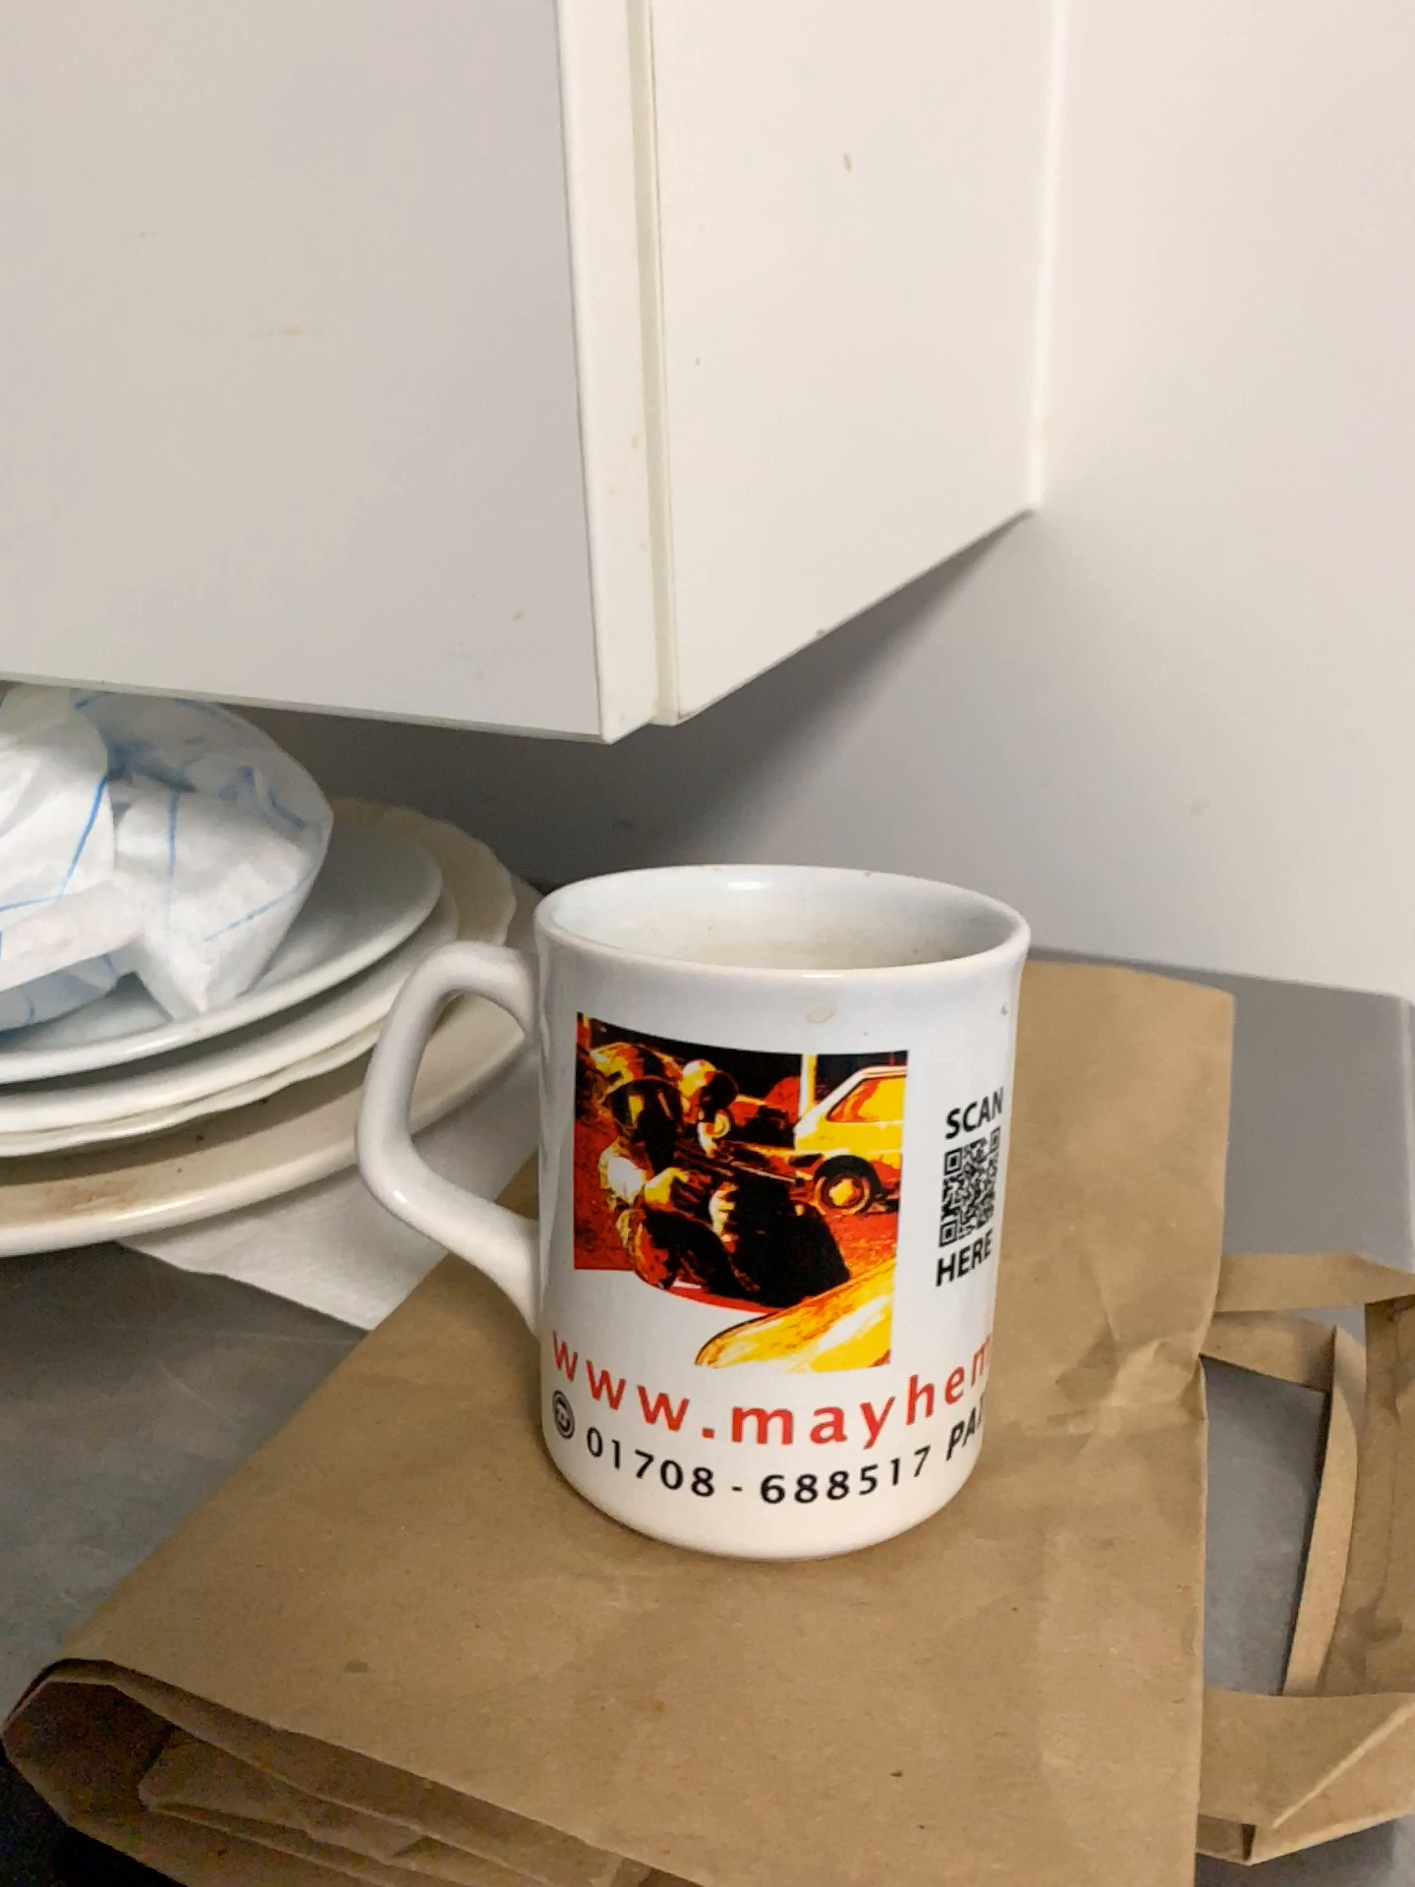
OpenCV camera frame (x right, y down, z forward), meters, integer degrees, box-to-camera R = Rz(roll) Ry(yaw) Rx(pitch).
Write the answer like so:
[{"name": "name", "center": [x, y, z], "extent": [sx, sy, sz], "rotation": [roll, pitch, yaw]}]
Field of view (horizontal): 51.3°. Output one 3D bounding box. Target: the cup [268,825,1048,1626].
[{"name": "cup", "center": [-0.003, 0.034, 0.239], "extent": [0.100, 0.088, 0.078], "rotation": [6, 14, 18]}]
